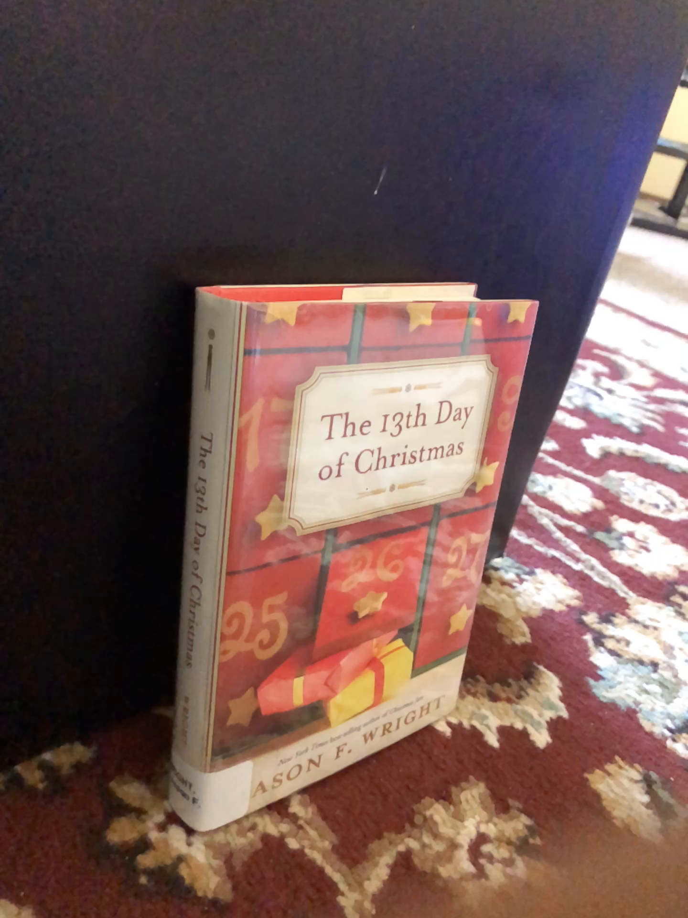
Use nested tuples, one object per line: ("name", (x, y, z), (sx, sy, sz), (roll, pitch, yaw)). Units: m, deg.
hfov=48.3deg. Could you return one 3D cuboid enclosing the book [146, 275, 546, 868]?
("book", (0.001, 0.032, 0.286), (0.138, 0.190, 0.040), (-12, 27, -43))
